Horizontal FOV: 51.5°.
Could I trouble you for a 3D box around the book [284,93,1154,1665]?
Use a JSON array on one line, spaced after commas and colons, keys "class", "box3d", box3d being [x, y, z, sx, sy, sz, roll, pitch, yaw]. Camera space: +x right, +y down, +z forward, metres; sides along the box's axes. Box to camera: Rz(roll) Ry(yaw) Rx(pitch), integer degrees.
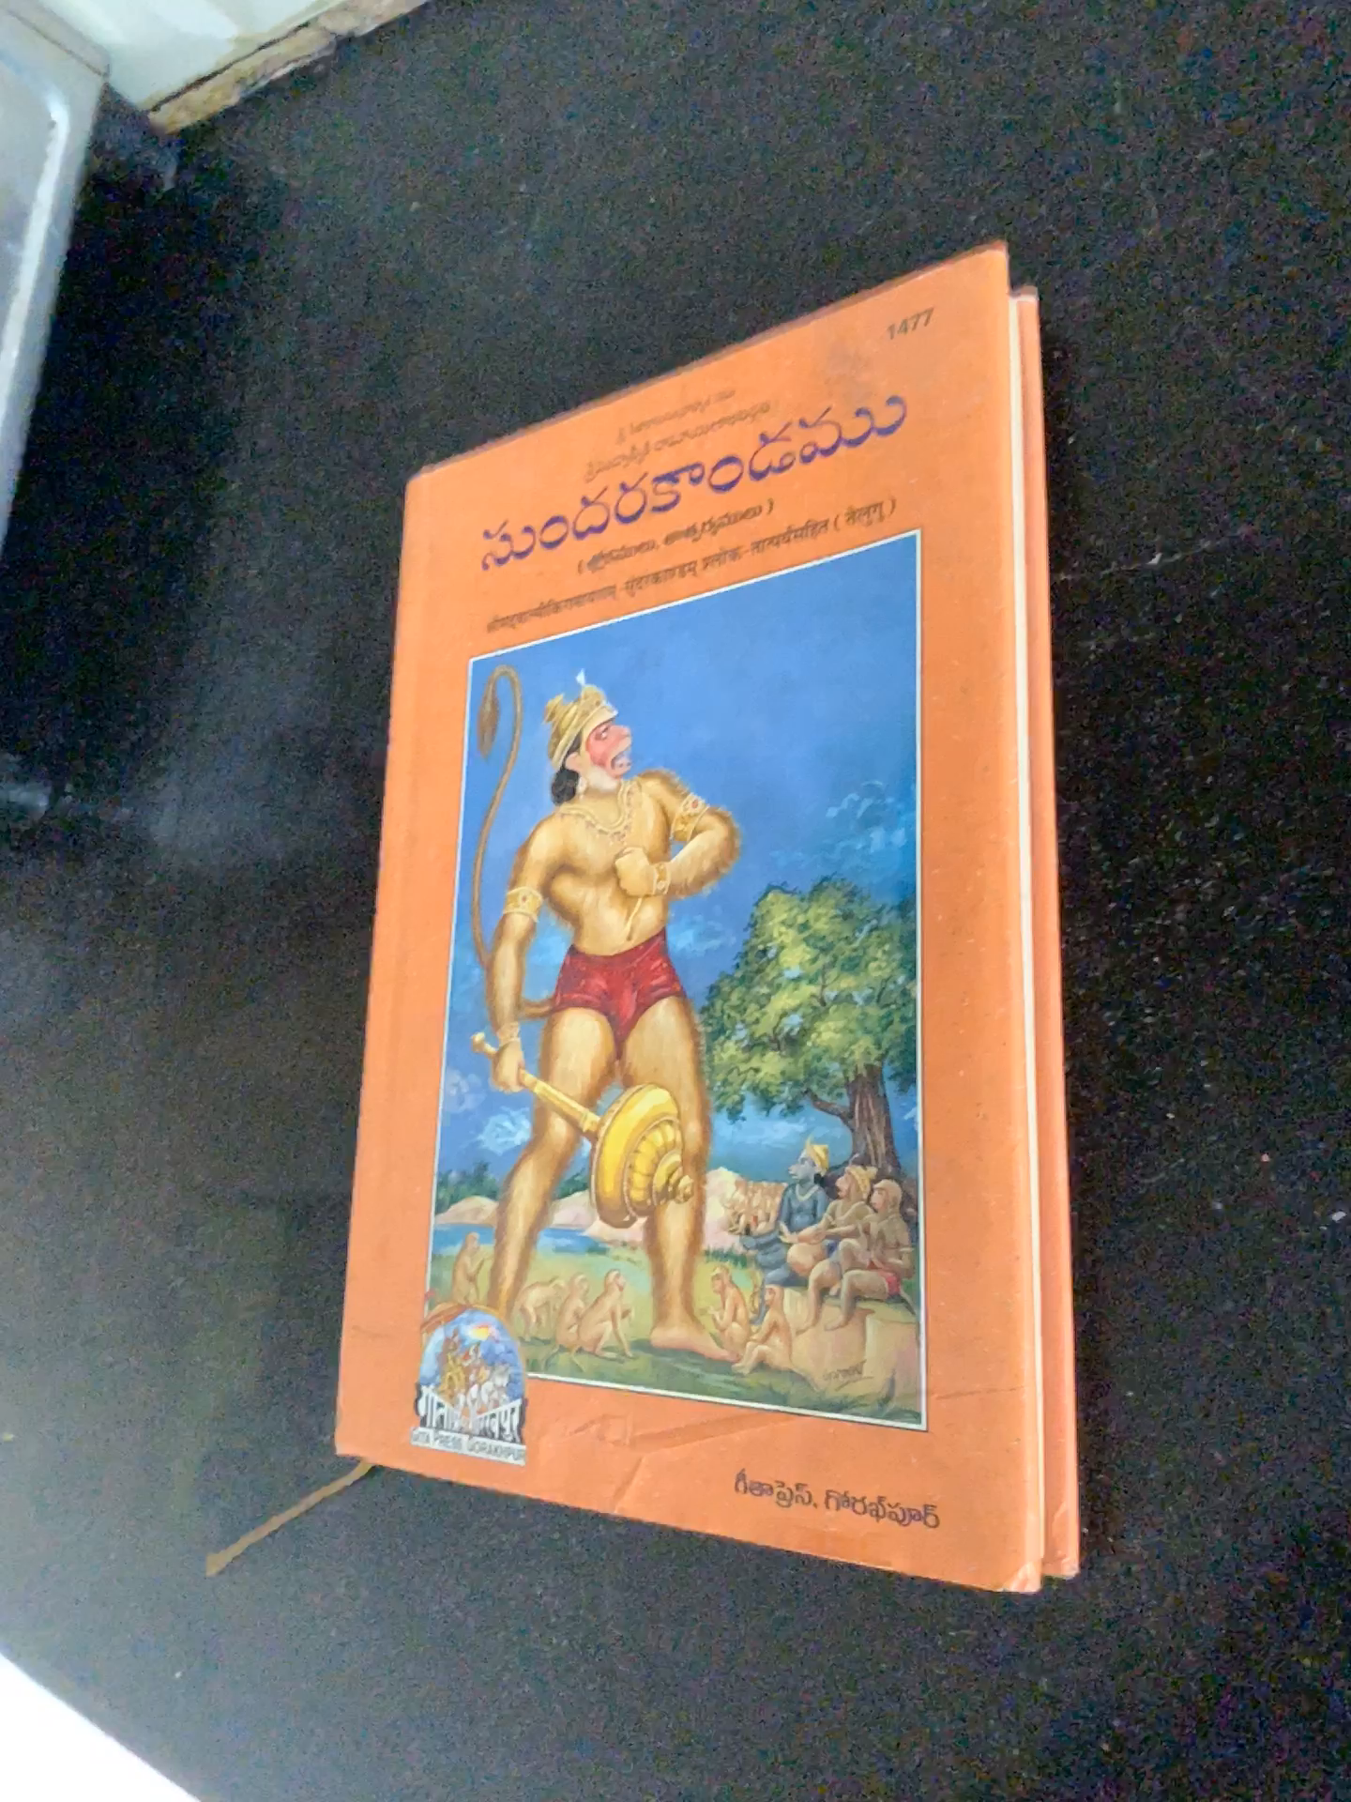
[{"class": "book", "box3d": [0.002, -0.009, 0.335, 0.201, 0.040, 0.300, -7, 75, 36]}]
